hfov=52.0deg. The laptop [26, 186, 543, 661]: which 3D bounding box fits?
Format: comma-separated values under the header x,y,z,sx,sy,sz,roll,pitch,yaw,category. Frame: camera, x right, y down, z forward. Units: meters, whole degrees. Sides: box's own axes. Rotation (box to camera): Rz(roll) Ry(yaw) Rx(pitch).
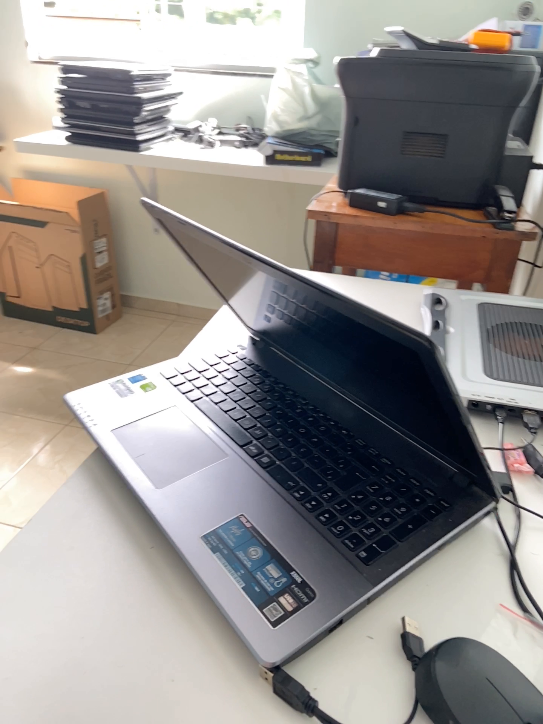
x,y,z,sx,sy,sz,roll,pitch,yaw,category
-0.016,-0.008,0.489,0.246,0.190,0.366,-19,36,-32,laptop
